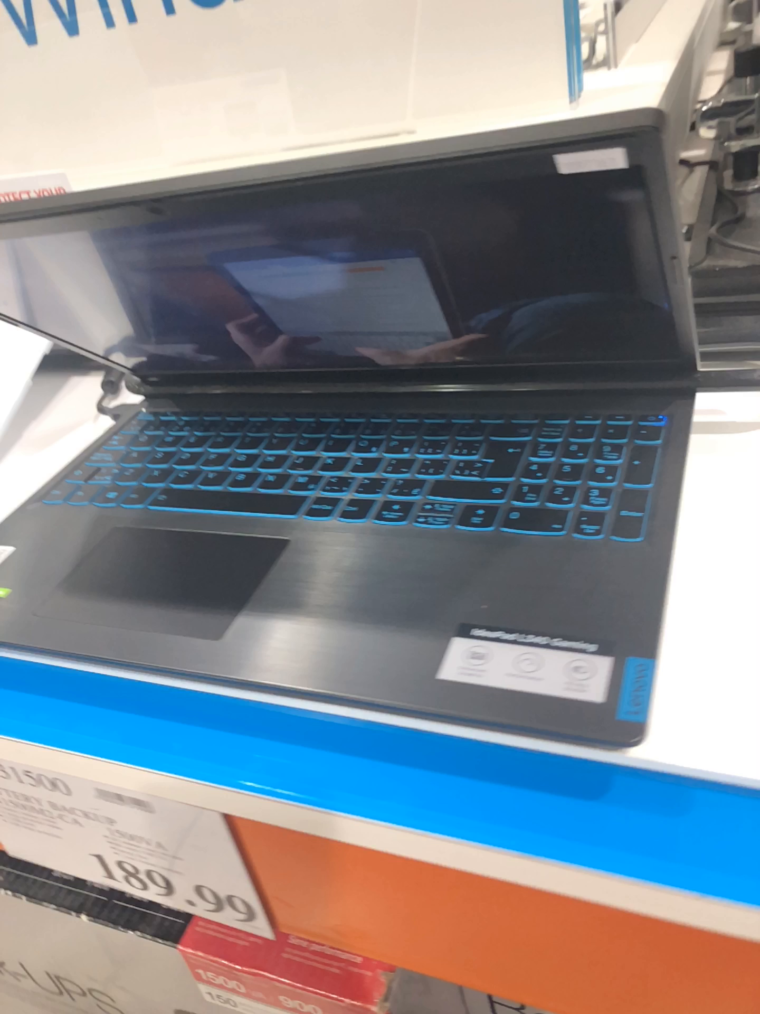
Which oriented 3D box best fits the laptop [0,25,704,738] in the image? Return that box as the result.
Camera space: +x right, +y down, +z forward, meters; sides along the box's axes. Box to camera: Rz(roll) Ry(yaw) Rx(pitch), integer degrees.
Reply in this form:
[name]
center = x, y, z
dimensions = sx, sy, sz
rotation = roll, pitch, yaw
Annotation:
[laptop]
center = -0.048, -0.072, 0.382
dimensions = 0.344, 0.170, 0.241
rotation = 3, 37, 24
